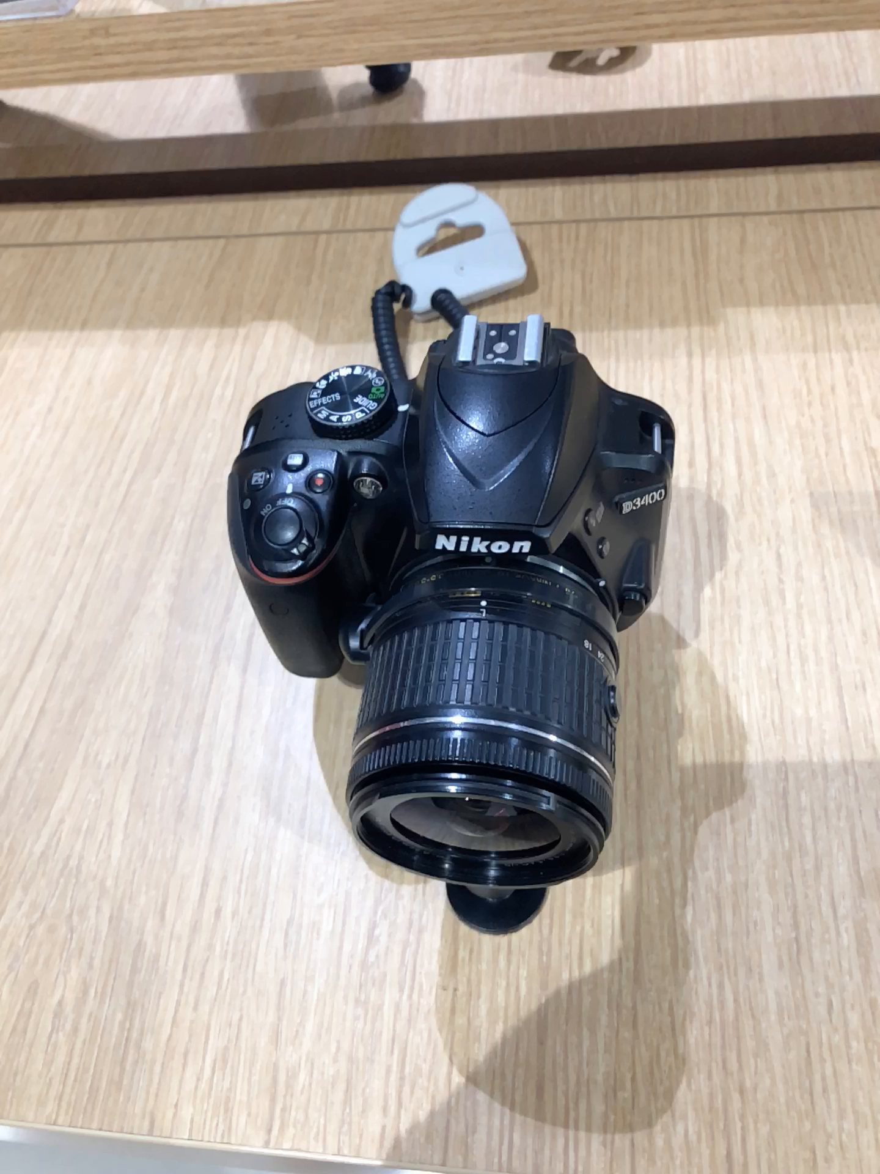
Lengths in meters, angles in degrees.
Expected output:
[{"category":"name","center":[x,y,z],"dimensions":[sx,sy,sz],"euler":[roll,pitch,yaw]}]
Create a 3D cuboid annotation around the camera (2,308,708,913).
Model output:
[{"category":"camera","center":[-0.008,0.004,0.248],"dimensions":[0.133,0.084,0.121],"euler":[1,55,9]}]
